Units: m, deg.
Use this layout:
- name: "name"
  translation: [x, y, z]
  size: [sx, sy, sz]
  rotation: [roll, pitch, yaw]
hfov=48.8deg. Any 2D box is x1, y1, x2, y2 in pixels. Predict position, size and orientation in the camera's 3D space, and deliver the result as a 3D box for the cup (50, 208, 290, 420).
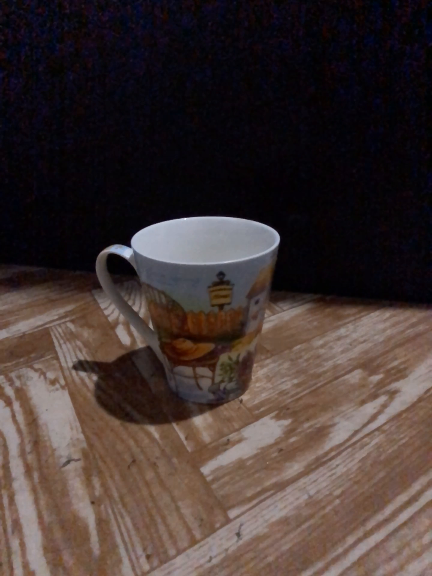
- name: "cup"
  translation: [-0.020, 0.009, 0.303]
  size: [0.120, 0.092, 0.087]
  rotation: [5, 25, 15]
